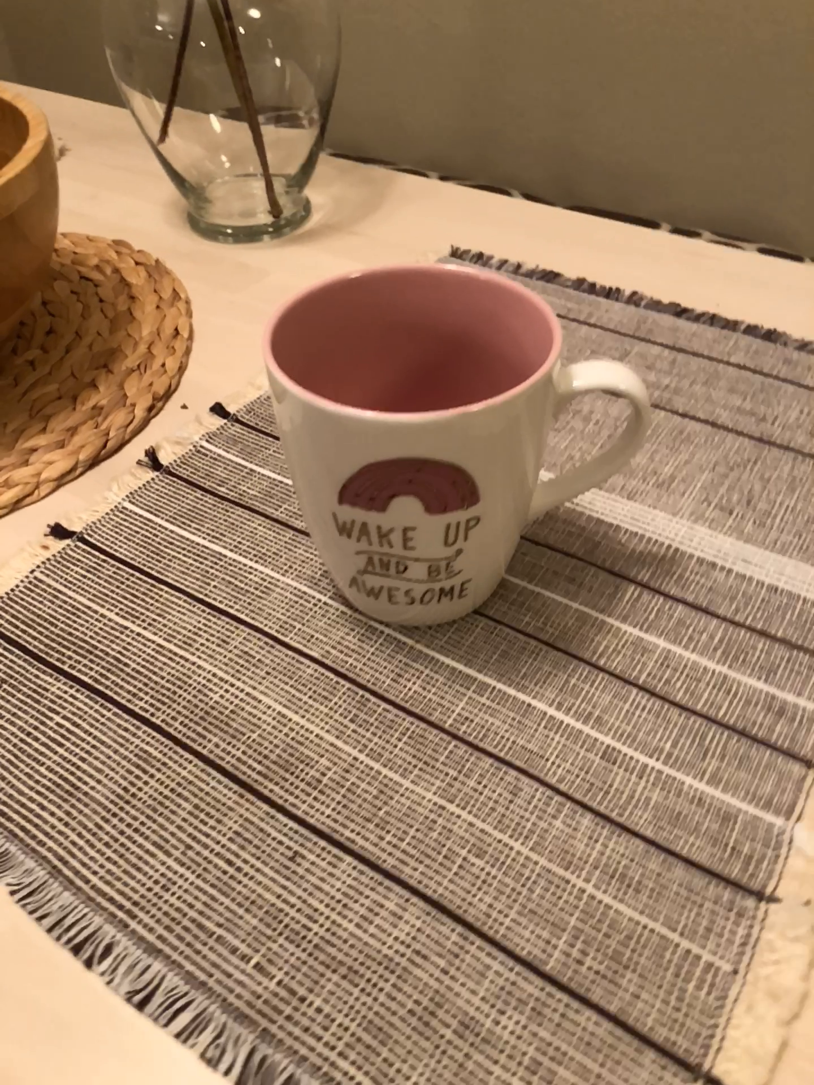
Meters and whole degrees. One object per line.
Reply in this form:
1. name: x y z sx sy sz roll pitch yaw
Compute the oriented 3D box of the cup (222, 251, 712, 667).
1. cup: 0.020 -0.036 0.378 0.160 0.119 0.121 -2 43 0
